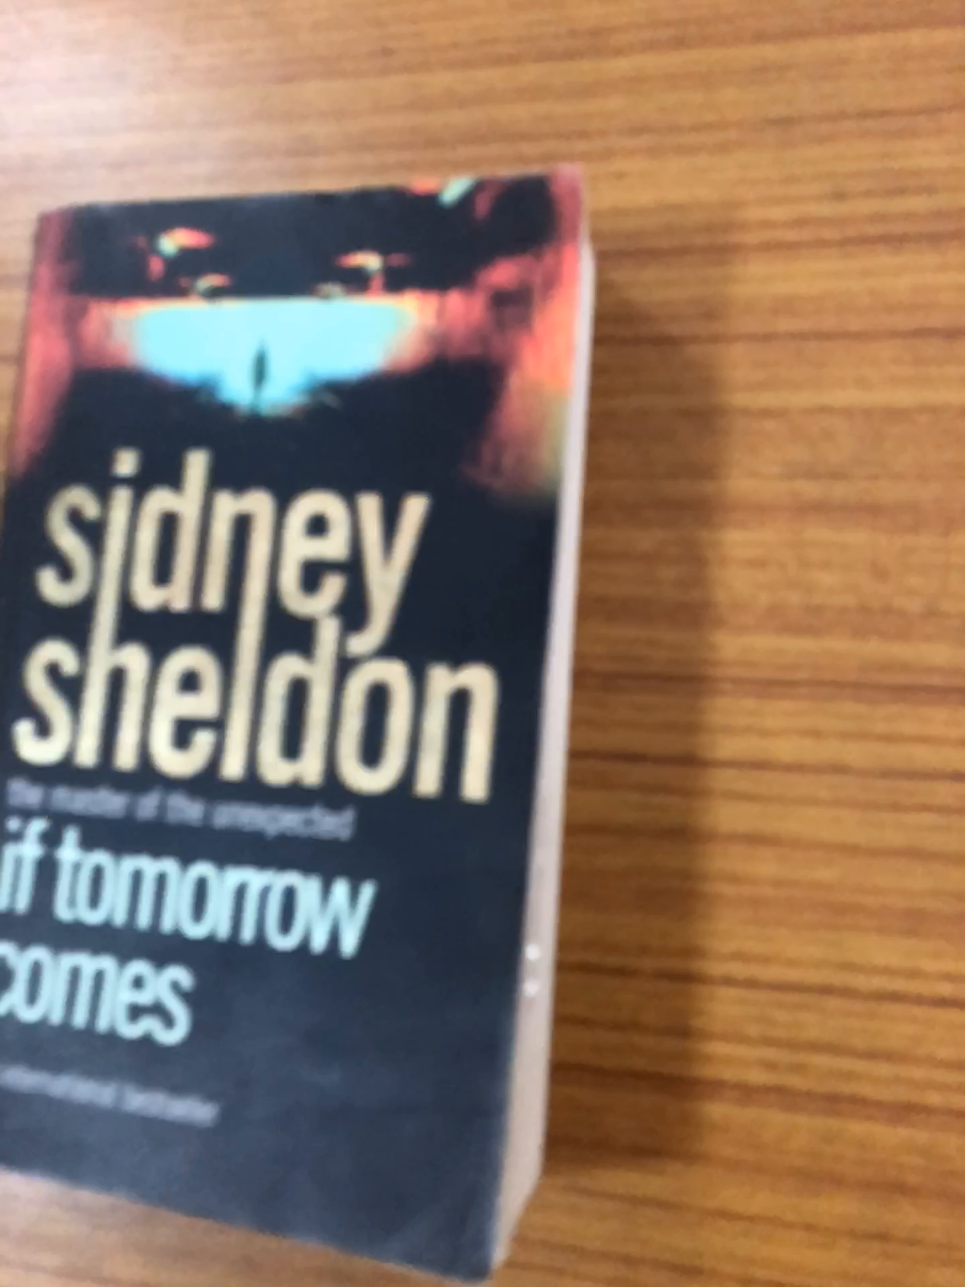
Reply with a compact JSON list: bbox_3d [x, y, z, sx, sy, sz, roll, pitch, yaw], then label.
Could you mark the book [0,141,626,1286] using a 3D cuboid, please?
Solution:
[{"bbox_3d":[-0.038,0.005,0.189,0.114,0.034,0.176,2,82,13],"label":"book"}]
